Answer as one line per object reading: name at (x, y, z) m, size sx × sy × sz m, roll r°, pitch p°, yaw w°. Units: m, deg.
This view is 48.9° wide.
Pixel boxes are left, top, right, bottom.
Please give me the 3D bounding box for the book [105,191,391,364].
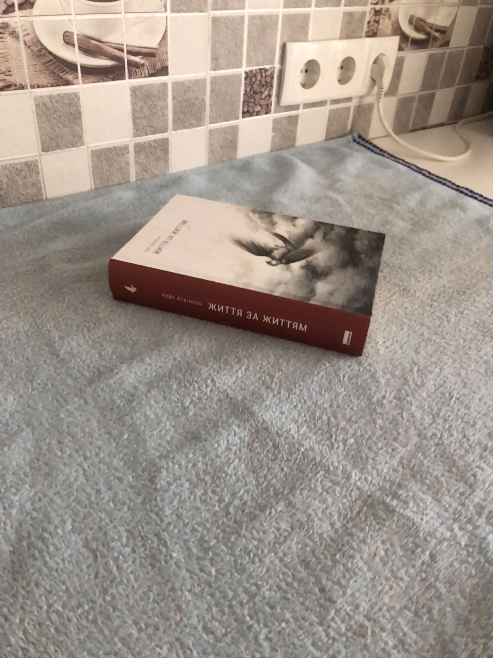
book at (0.011, -0.057, 0.490) m, size 0.220 × 0.040 × 0.156 m, roll 13°, pitch 37°, yaw 10°
